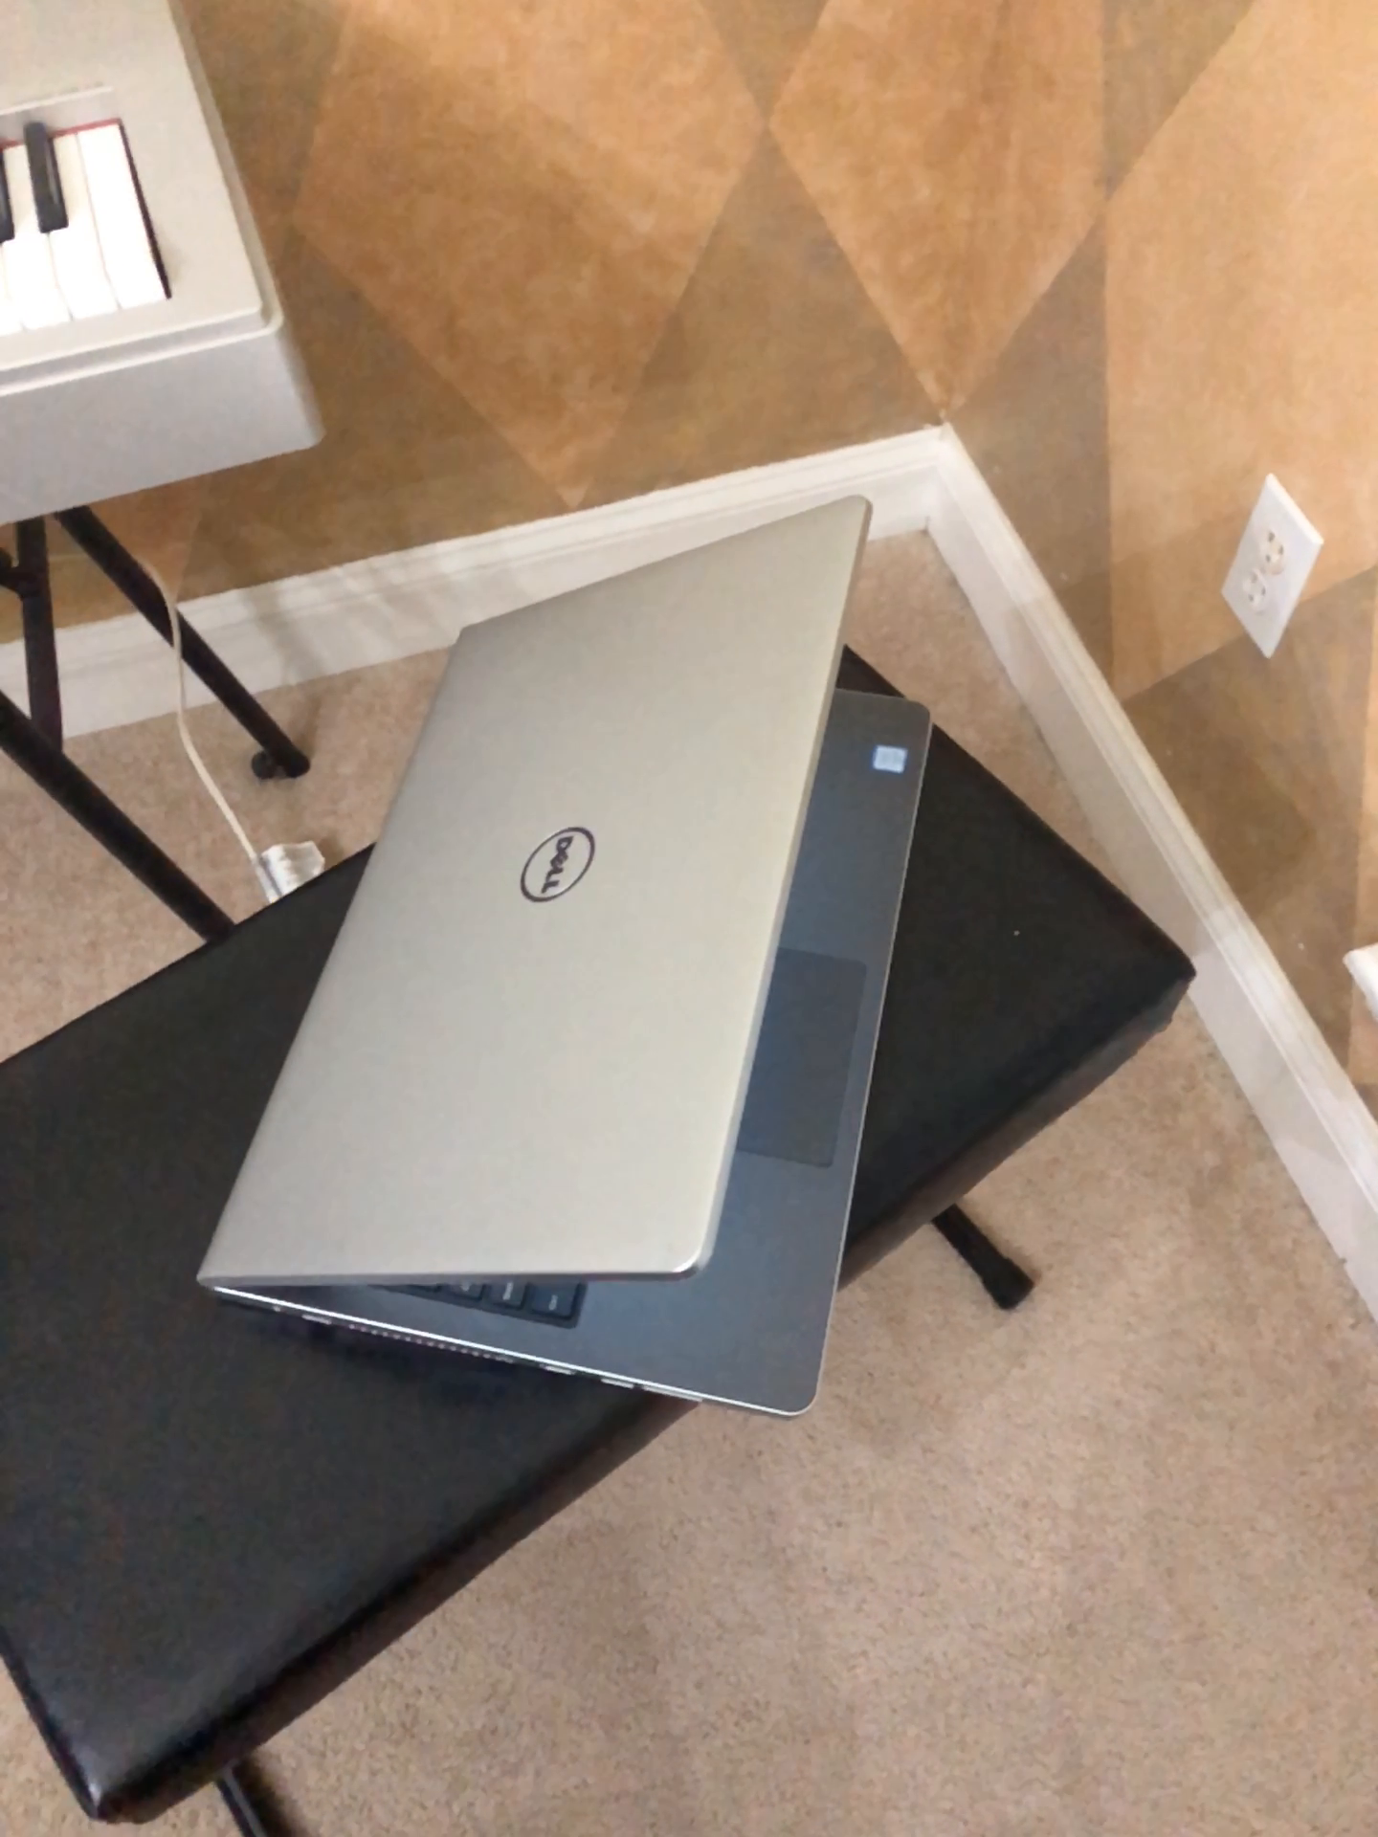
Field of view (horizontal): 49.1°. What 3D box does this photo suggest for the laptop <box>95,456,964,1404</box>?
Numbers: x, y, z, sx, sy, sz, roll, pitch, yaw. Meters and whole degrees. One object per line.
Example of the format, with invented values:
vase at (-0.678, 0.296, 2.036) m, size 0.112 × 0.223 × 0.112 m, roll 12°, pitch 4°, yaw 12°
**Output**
laptop at (-0.040, -0.012, 0.676) m, size 0.261 × 0.137 × 0.377 m, roll 10°, pitch 58°, yaw 7°
